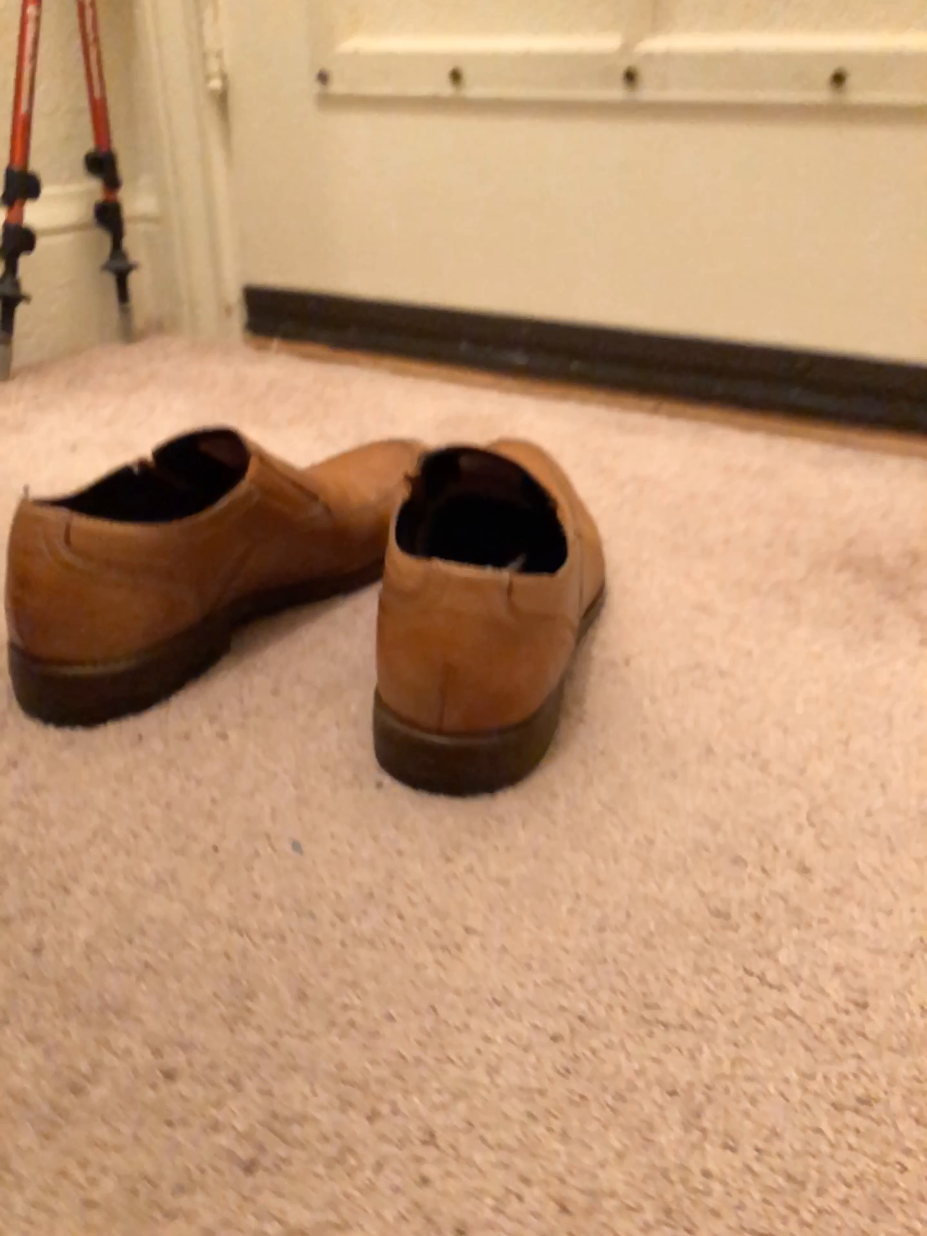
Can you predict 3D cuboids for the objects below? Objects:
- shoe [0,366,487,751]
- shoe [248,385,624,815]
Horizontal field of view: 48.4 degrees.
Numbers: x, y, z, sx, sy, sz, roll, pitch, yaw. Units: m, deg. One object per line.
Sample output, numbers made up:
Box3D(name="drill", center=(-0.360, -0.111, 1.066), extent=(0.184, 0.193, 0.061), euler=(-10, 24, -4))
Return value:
Box3D(name="shoe", center=(-0.114, -0.055, 0.543), extent=(0.100, 0.090, 0.321), euler=(16, 29, 27))
Box3D(name="shoe", center=(0.009, -0.036, 0.515), extent=(0.107, 0.089, 0.312), euler=(6, 25, 11))
